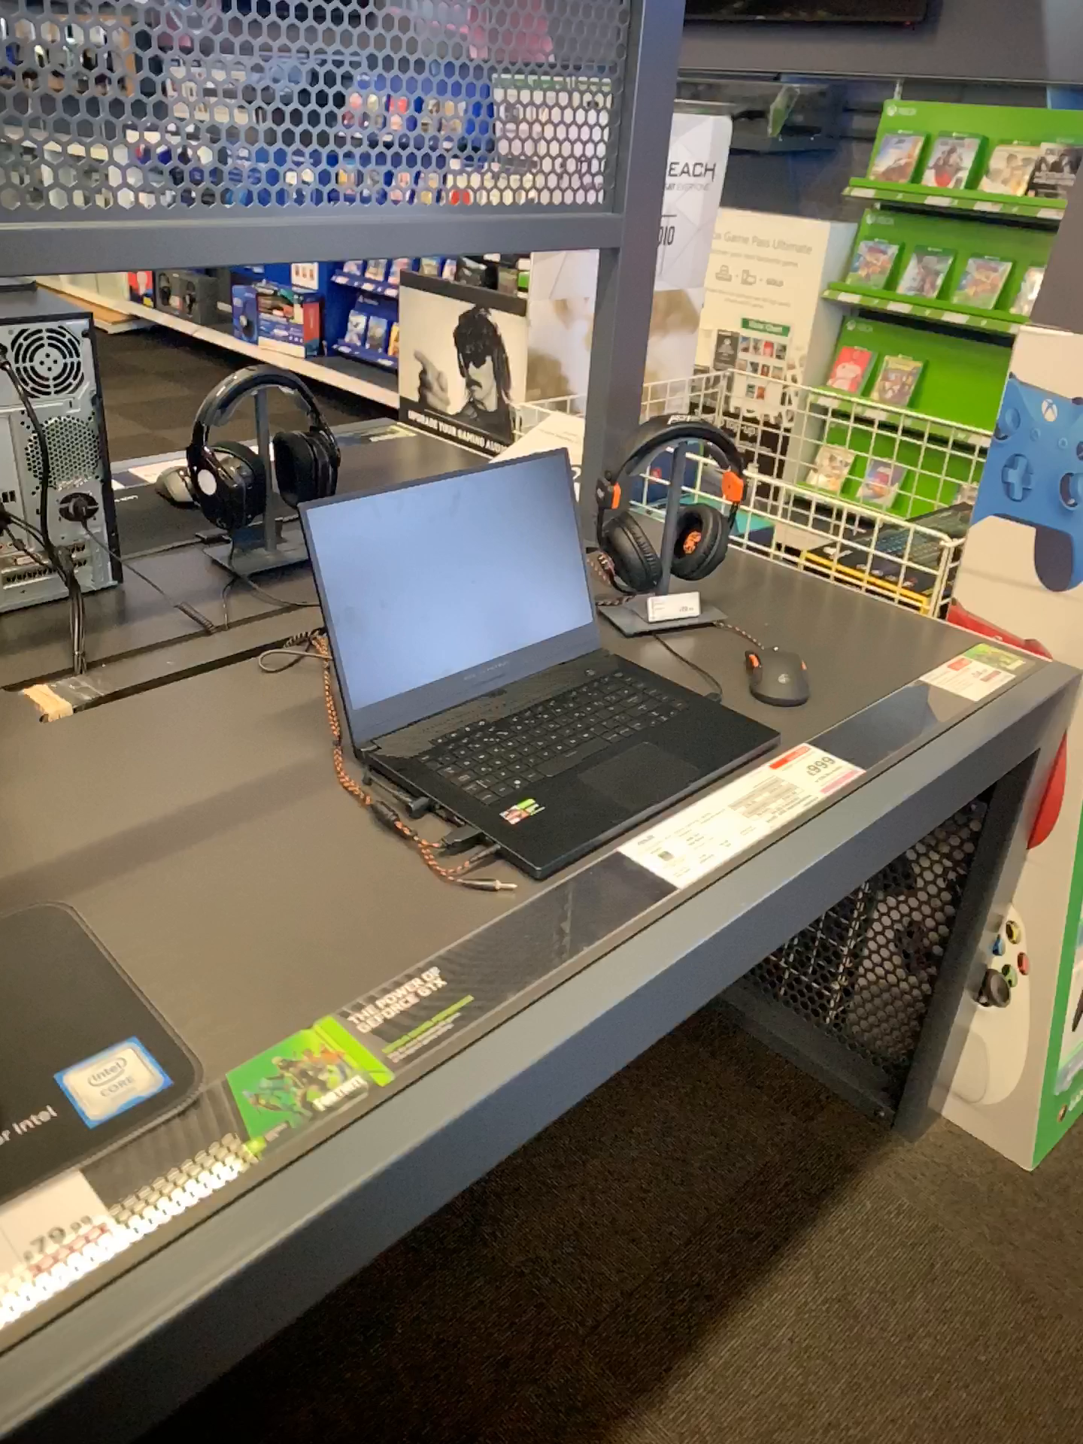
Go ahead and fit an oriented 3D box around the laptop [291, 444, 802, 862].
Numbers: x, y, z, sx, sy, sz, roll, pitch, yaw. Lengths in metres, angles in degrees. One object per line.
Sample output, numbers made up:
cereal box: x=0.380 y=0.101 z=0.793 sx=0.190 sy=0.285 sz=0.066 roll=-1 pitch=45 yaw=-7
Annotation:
laptop: x=0.003 y=-0.096 z=1.058 sx=0.324 sy=0.203 sz=0.349 roll=29 pitch=37 yaw=34
